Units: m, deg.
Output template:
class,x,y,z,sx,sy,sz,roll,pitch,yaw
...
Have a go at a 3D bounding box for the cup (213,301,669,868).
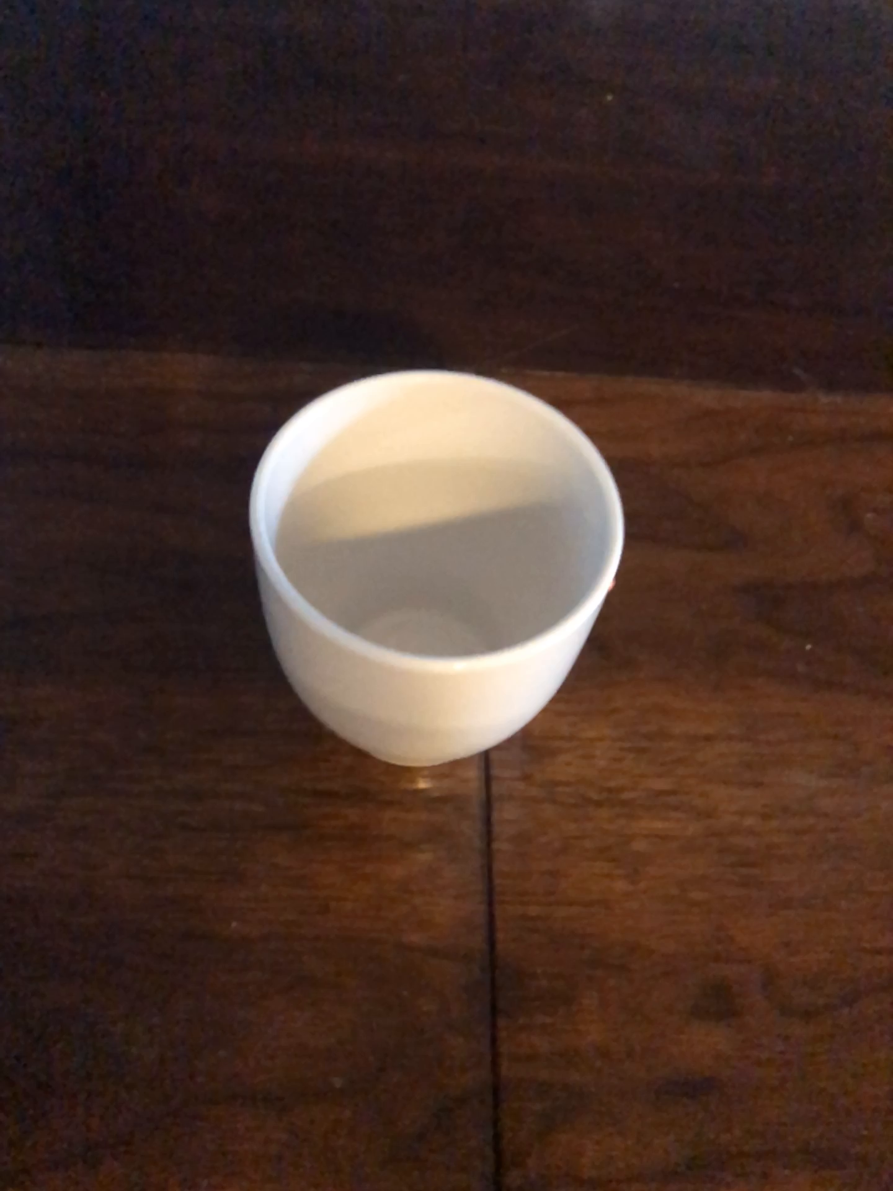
class,x,y,z,sx,sy,sz,roll,pitch,yaw
cup,-0.006,-0.003,0.324,0.110,0.100,0.150,2,55,-5
